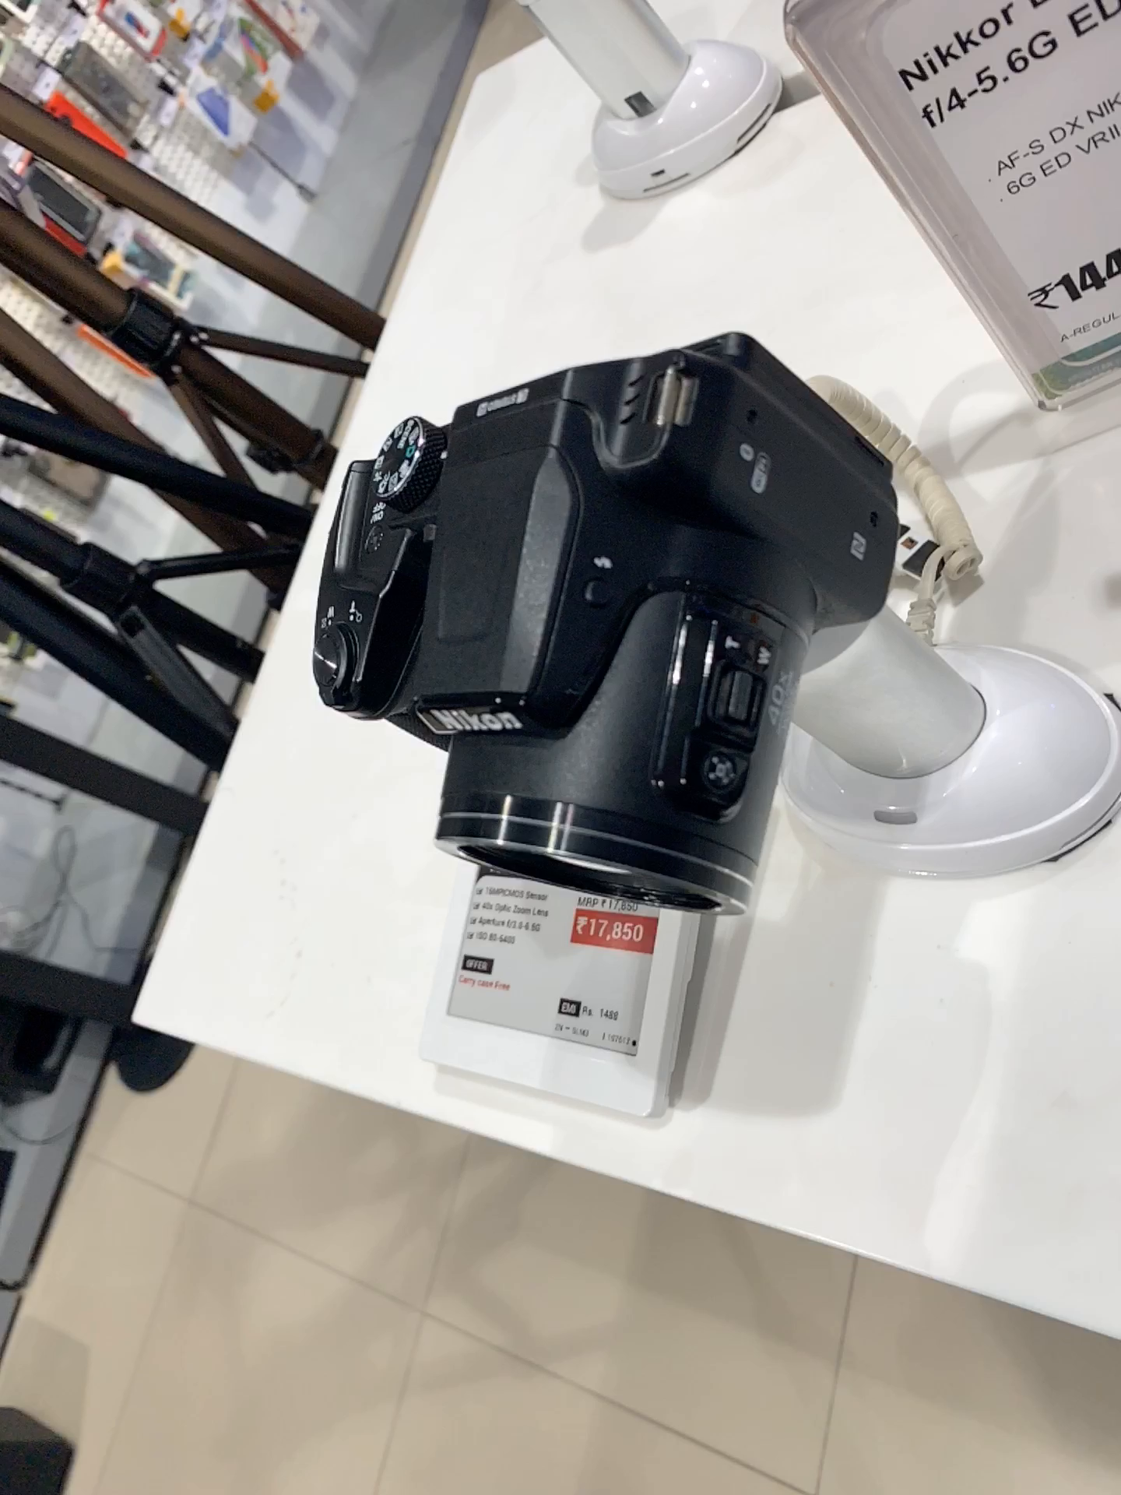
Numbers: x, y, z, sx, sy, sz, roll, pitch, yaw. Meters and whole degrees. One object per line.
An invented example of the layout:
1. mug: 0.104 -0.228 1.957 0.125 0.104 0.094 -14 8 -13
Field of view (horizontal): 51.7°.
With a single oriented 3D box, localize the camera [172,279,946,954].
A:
1. camera: -0.002 -0.016 0.216 0.113 0.070 0.083 0 74 43
